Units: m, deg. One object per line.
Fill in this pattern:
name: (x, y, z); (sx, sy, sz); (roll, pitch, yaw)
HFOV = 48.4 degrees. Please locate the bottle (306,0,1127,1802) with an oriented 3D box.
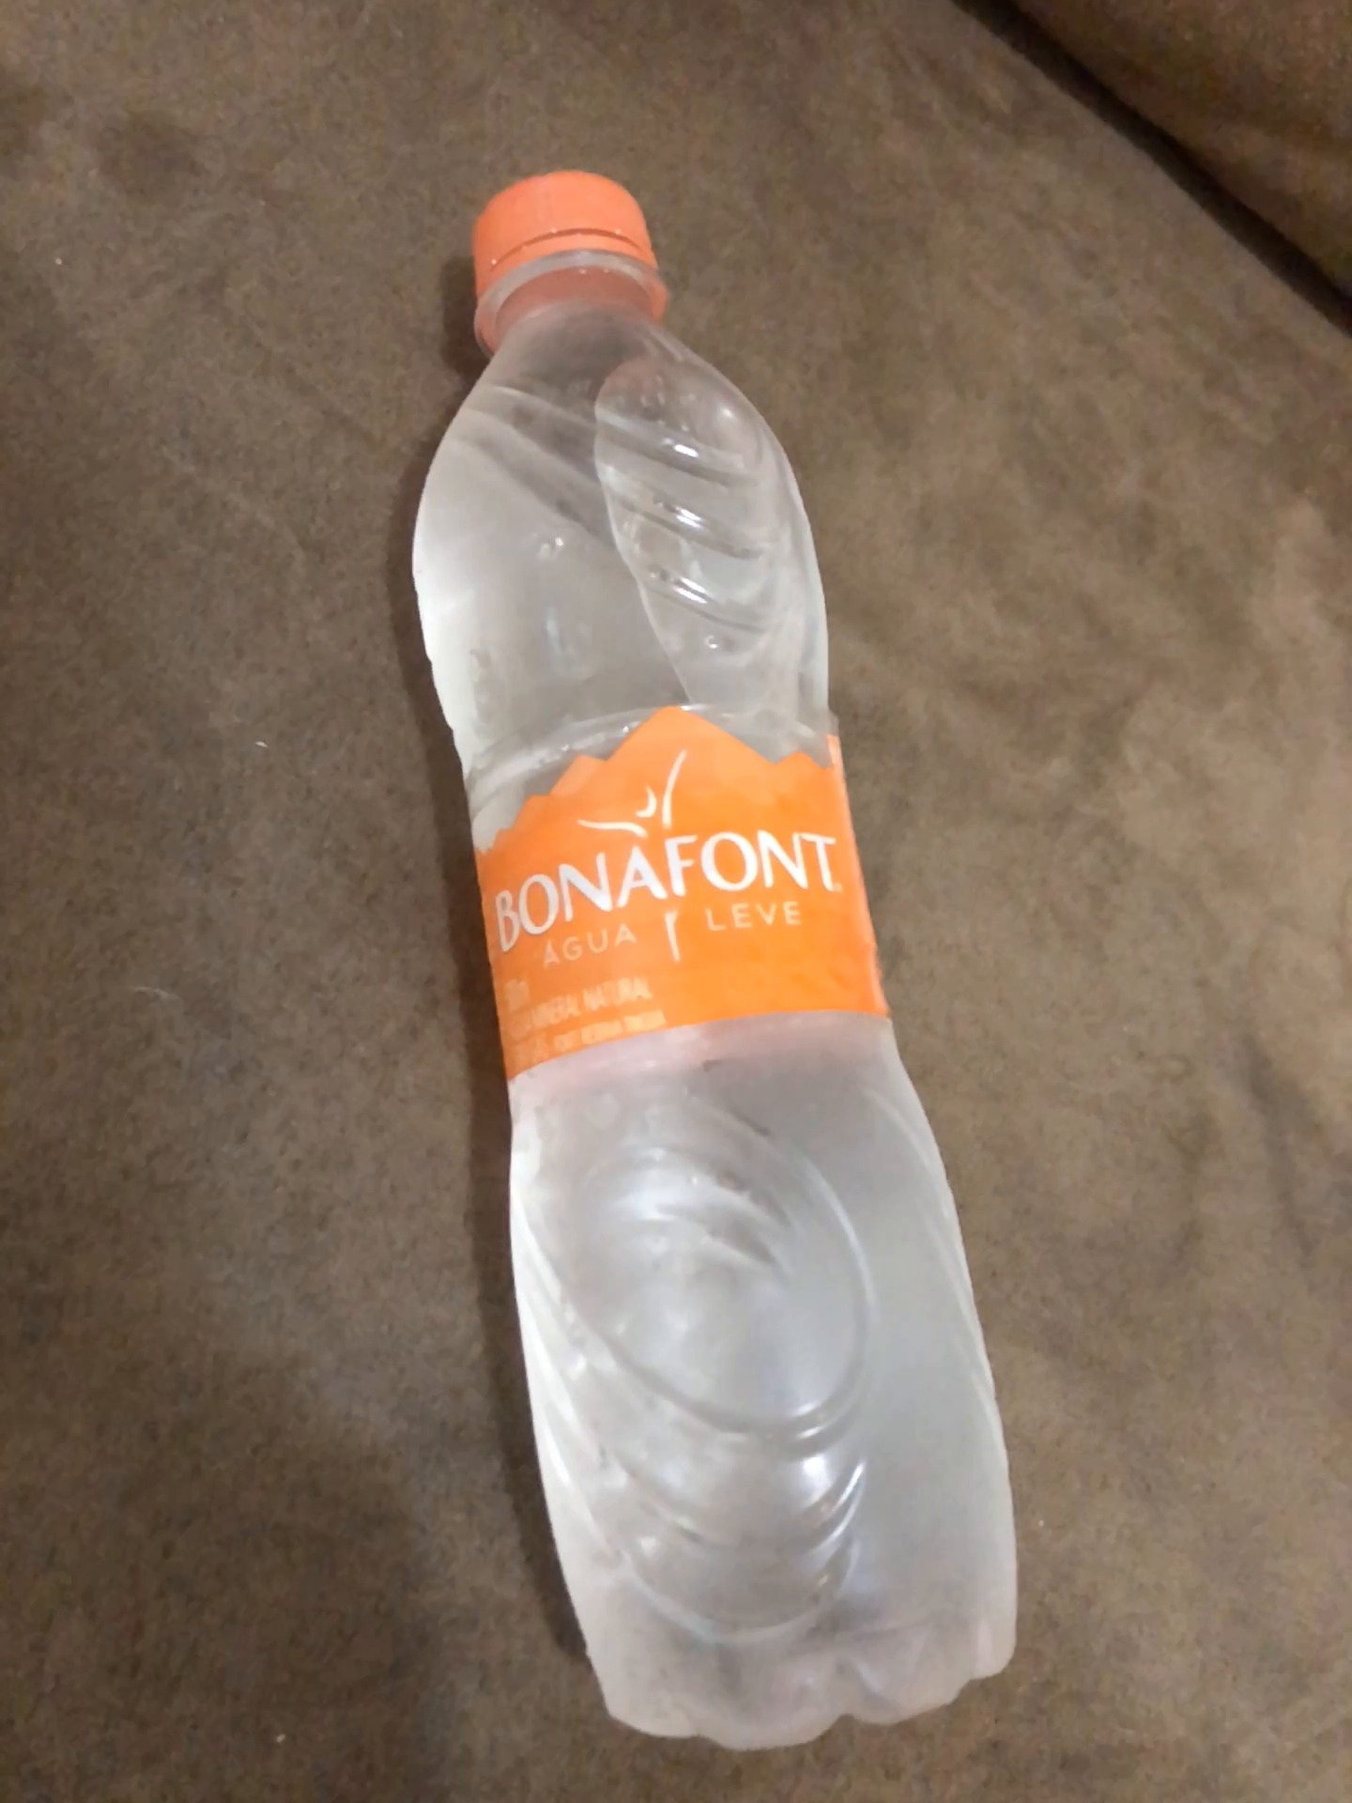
bottle: (-0.002, -0.011, 0.225); (0.070, 0.050, 0.240); (0, 73, -34)
